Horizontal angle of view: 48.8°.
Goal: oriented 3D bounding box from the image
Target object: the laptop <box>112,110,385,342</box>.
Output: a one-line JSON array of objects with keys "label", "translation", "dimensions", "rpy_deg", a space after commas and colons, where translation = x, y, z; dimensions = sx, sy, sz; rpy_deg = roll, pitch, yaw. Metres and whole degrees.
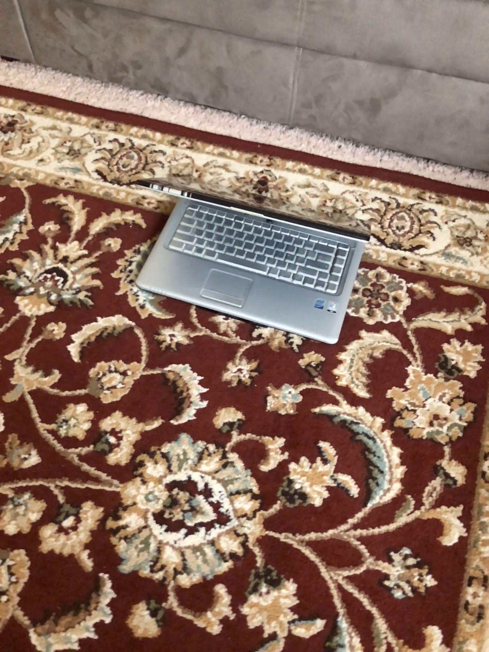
[{"label": "laptop", "translation": [0.014, -0.164, 0.859], "dimensions": [0.342, 0.164, 0.244], "rpy_deg": [16, 59, 8]}]
